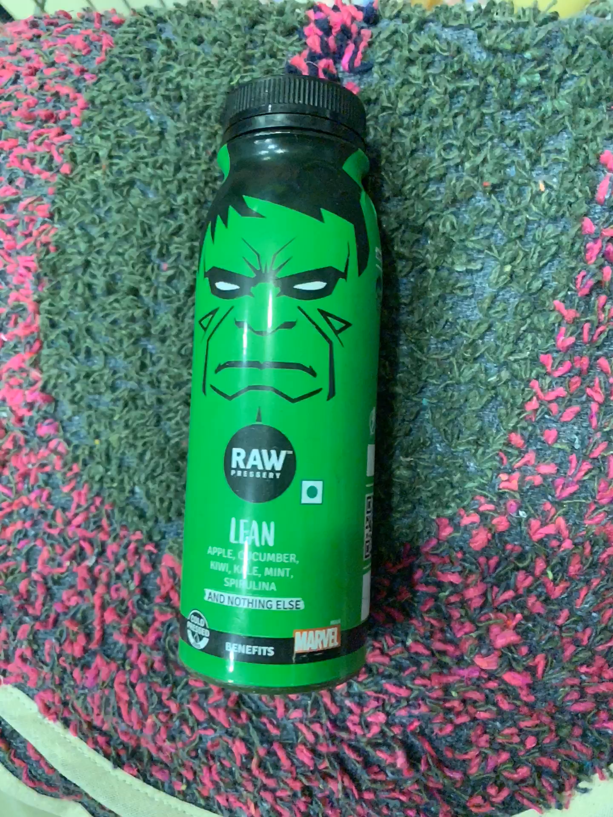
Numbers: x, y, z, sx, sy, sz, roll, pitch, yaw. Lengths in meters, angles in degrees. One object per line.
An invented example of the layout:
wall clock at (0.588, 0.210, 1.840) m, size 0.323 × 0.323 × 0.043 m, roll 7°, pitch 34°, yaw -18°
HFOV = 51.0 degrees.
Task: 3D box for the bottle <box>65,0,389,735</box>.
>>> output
bottle at (-0.016, -0.012, 0.168) m, size 0.060 × 0.050 × 0.160 m, roll 1°, pitch 85°, yaw 17°
